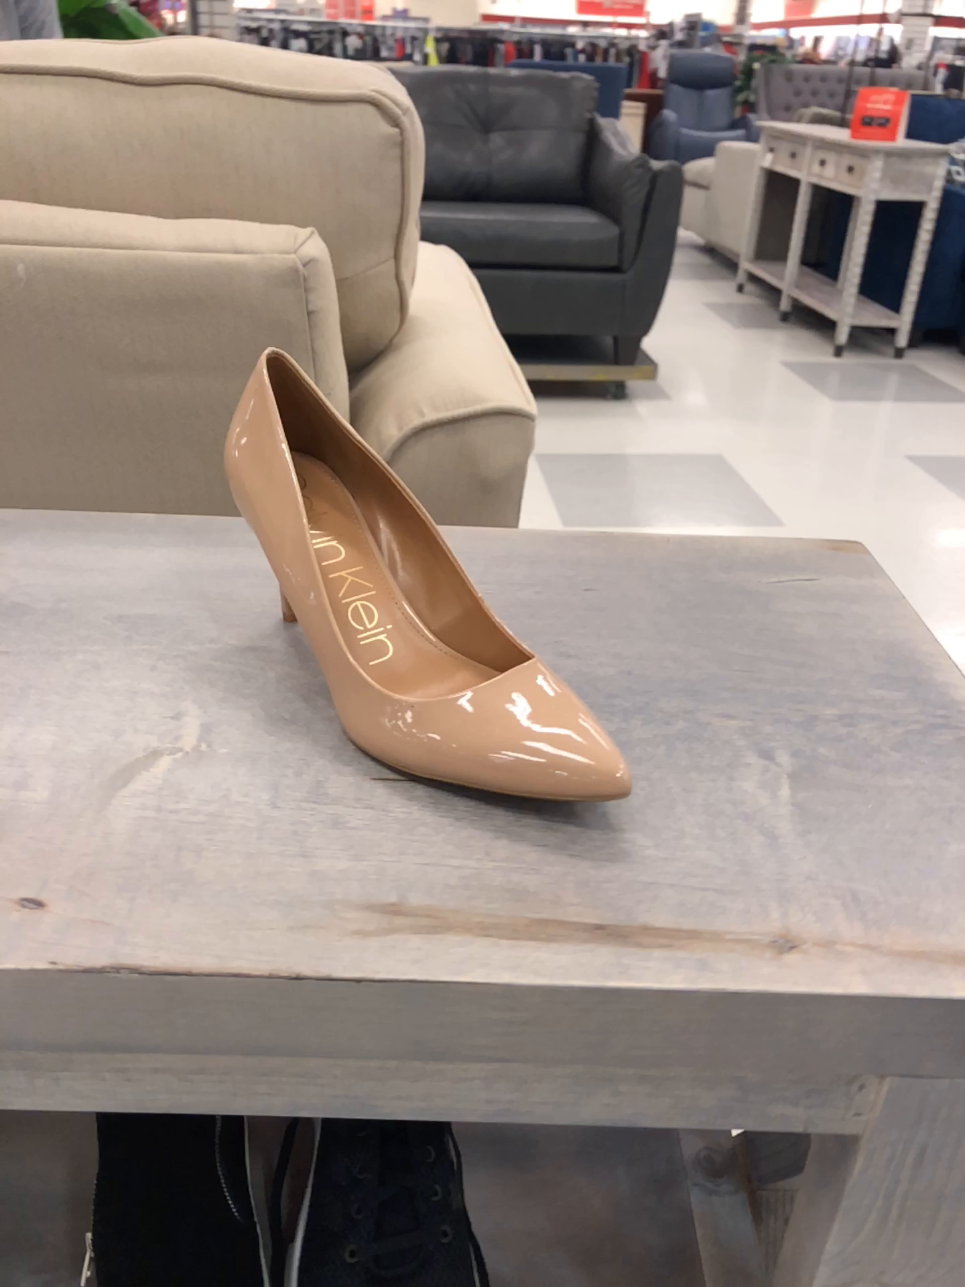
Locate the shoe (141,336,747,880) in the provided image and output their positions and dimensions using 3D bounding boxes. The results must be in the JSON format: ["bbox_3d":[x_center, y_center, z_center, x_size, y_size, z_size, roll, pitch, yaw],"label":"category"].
[{"bbox_3d":[-0.034,-0.037,0.465,0.096,0.129,0.268,-22,37,-37],"label":"shoe"}]
